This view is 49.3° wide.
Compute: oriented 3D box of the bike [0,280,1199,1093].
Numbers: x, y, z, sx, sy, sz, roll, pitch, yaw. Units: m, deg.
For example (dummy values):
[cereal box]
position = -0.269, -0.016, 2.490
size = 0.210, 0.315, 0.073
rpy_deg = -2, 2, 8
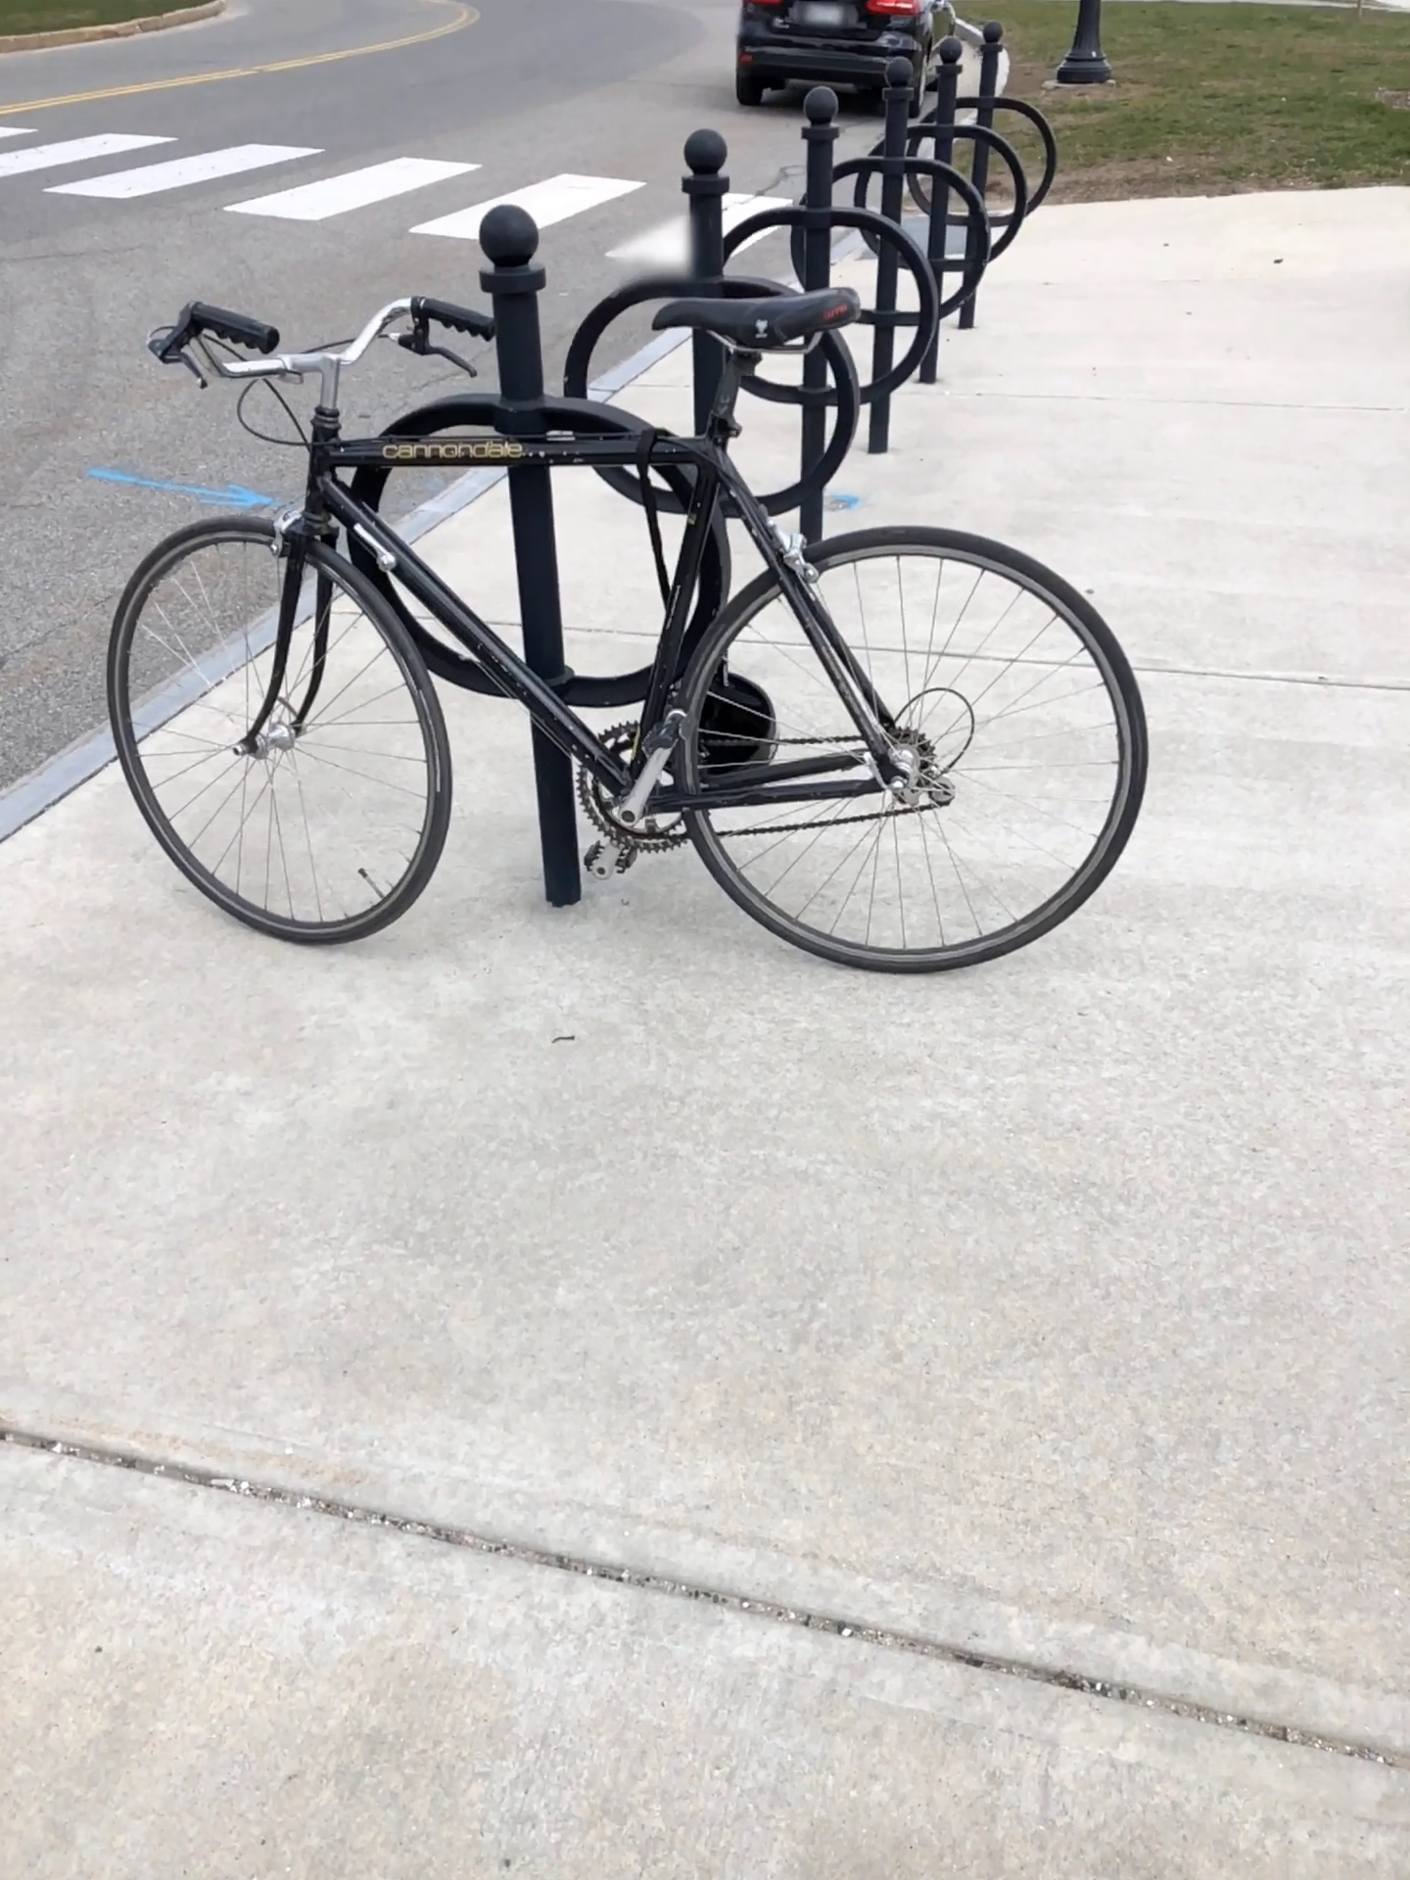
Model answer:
[bike]
position = -0.165, -0.329, 1.945
size = 1.382, 0.805, 0.488
rpy_deg = 4, 34, 13
